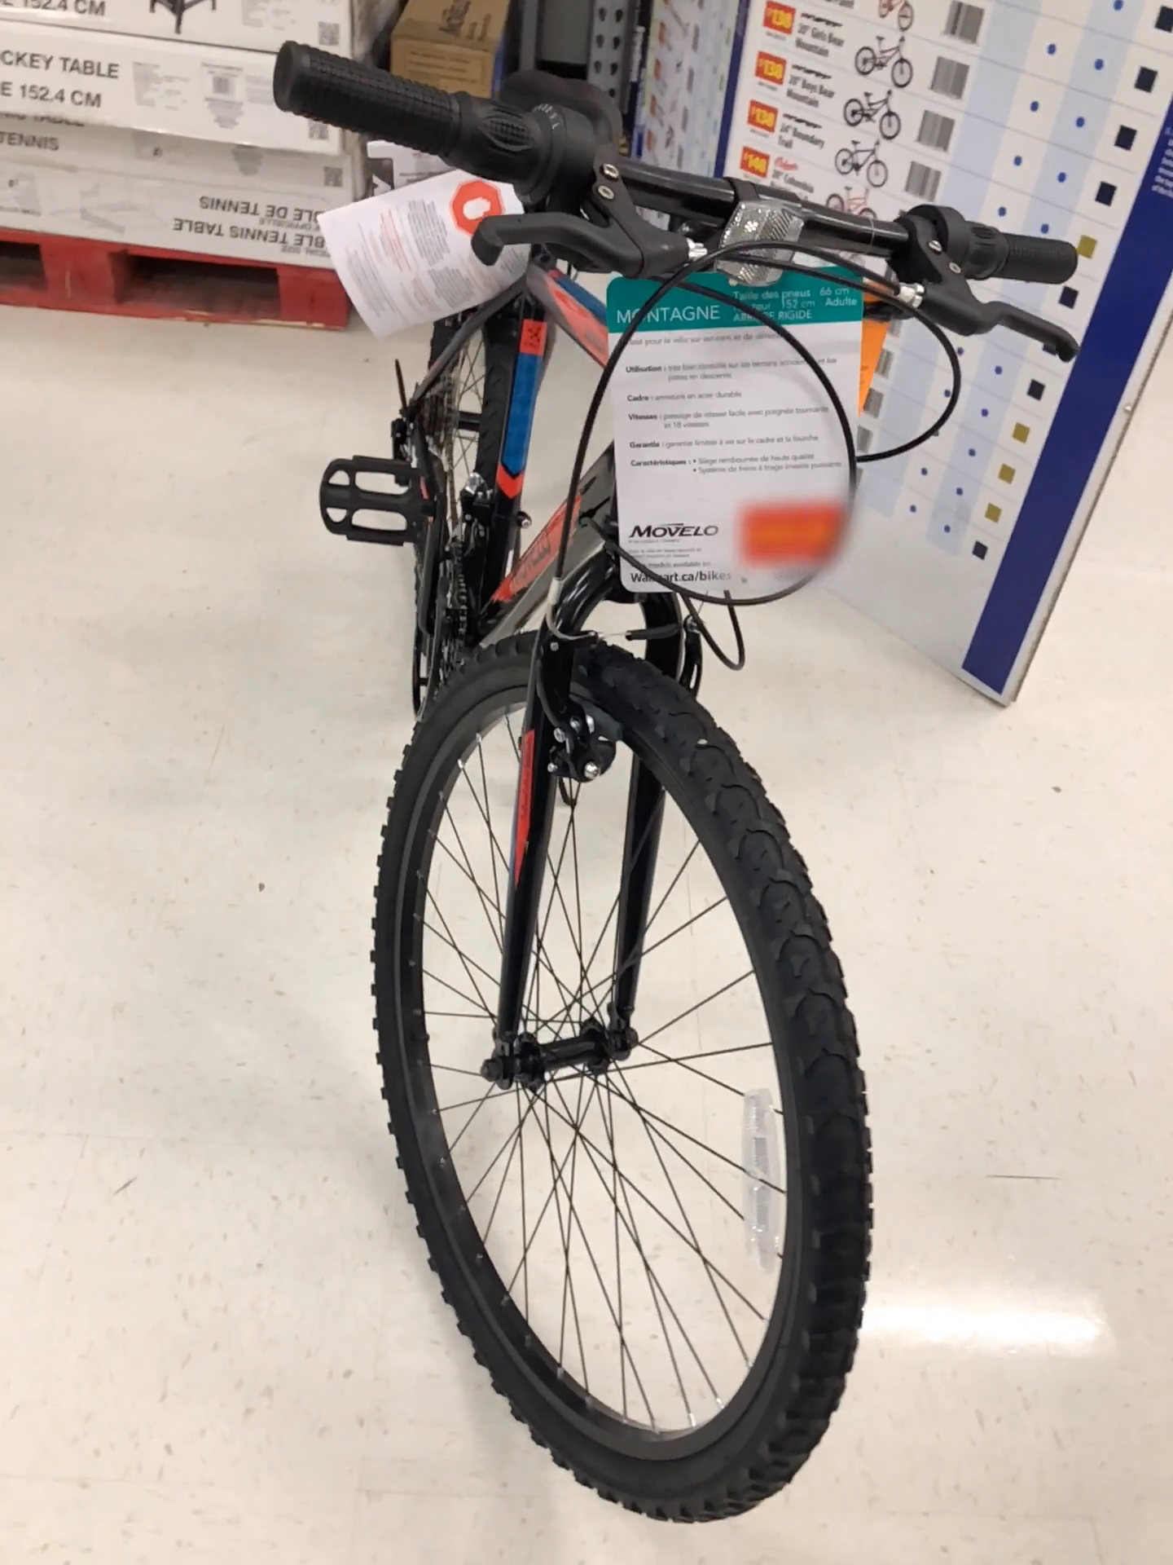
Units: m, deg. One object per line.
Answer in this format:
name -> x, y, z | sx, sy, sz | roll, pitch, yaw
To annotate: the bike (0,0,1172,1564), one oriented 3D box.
bike -> -0.018, -0.167, 1.089 | 0.559, 0.942, 1.293 | -2, 42, -10
